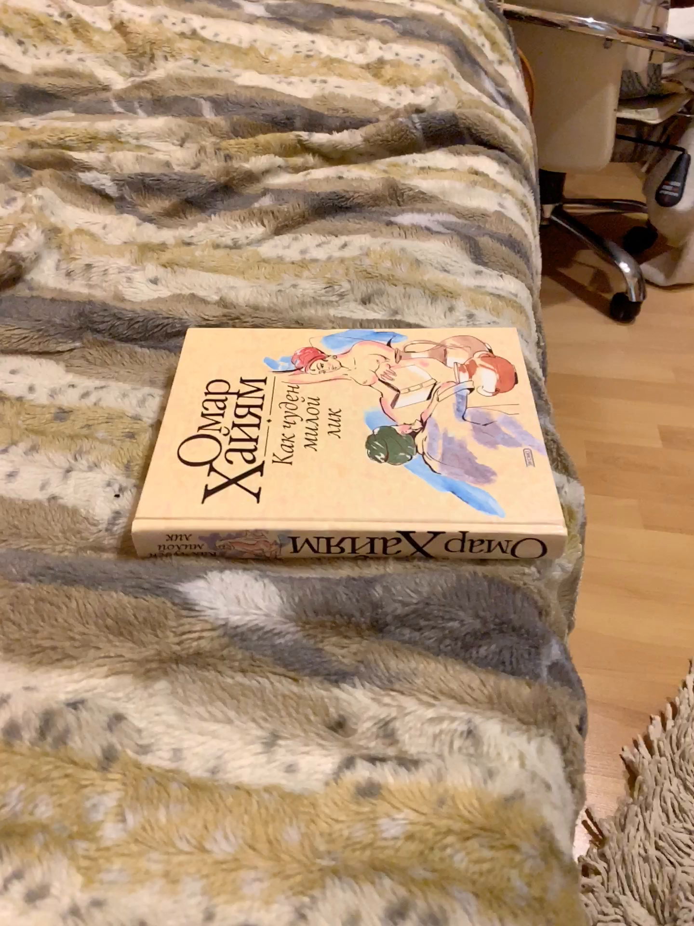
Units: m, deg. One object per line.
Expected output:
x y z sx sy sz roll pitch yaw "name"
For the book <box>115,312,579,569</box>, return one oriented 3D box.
0.001 -0.021 0.407 0.220 0.030 0.172 1 47 0 "book"
